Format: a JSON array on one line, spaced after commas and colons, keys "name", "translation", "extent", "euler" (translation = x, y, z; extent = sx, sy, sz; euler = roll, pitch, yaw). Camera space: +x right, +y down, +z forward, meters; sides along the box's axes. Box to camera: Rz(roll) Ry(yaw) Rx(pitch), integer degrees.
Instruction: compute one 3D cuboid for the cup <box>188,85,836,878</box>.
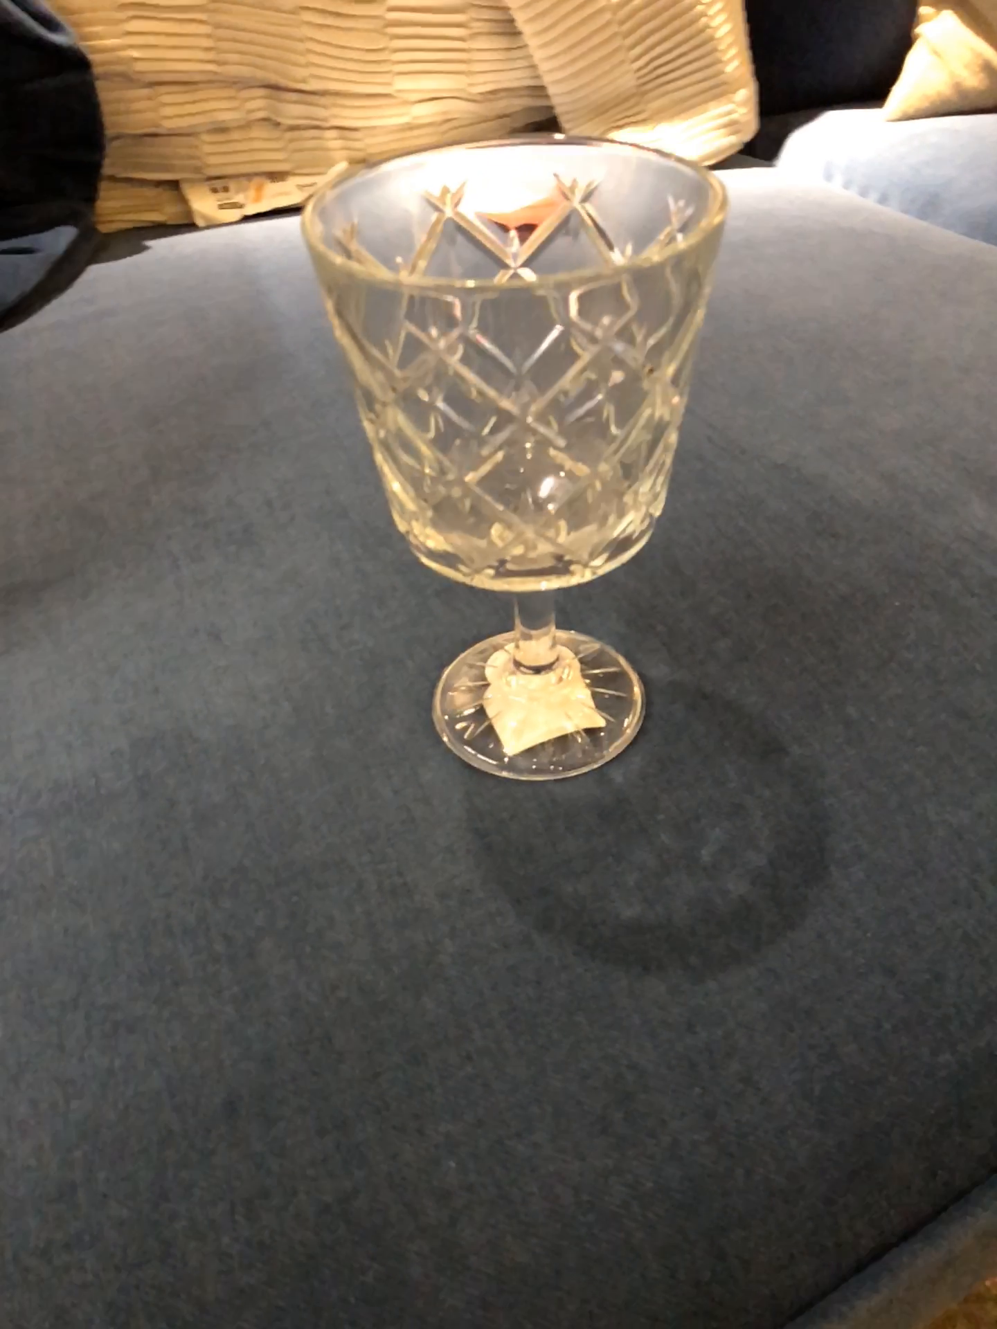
[{"name": "cup", "translation": [0.005, -0.044, 0.263], "extent": [0.090, 0.140, 0.090], "euler": [-2, 41, 1]}]
